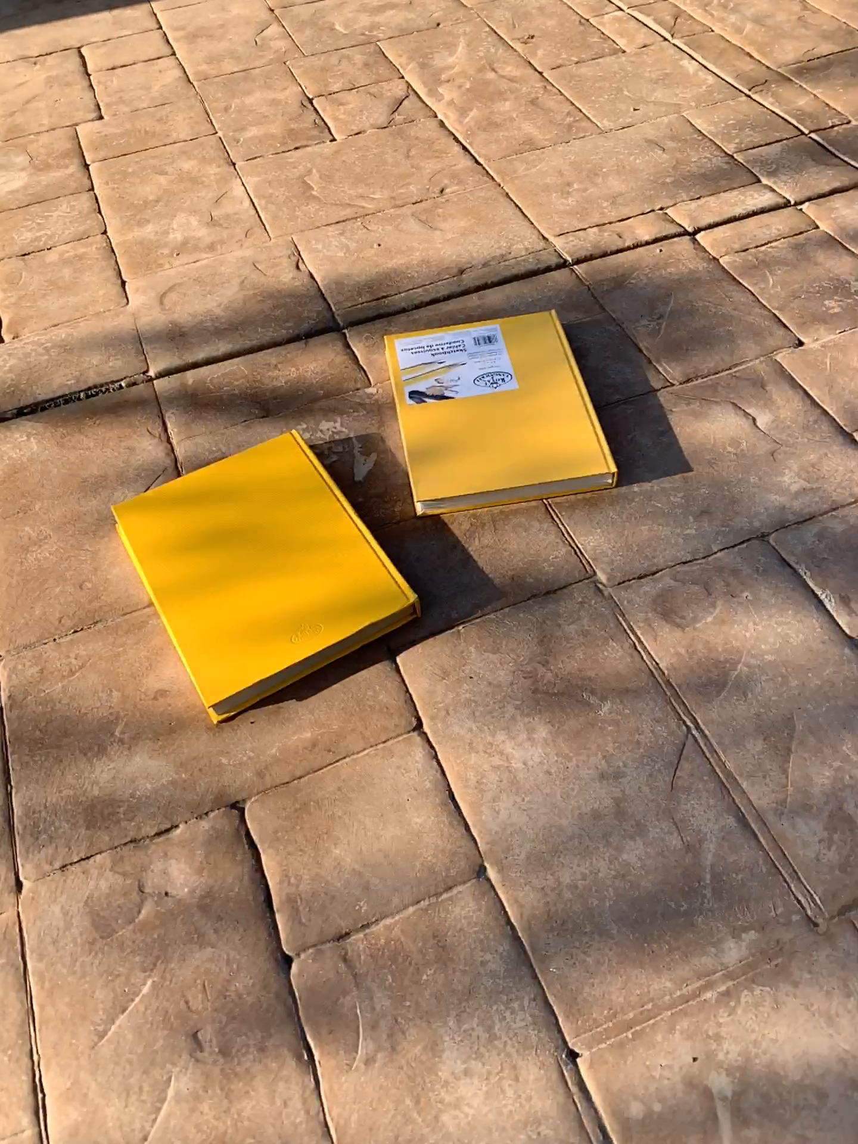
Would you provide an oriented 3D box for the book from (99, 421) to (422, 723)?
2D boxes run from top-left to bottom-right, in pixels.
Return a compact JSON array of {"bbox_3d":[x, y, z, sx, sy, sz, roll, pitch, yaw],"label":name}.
[{"bbox_3d":[-0.176,-0.018,0.873,0.220,0.030,0.290,-27,54,-16],"label":"book"}]

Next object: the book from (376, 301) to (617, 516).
[{"bbox_3d":[0.066,-0.195,0.992,0.220,0.030,0.274,-9,55,-2],"label":"book"}]
